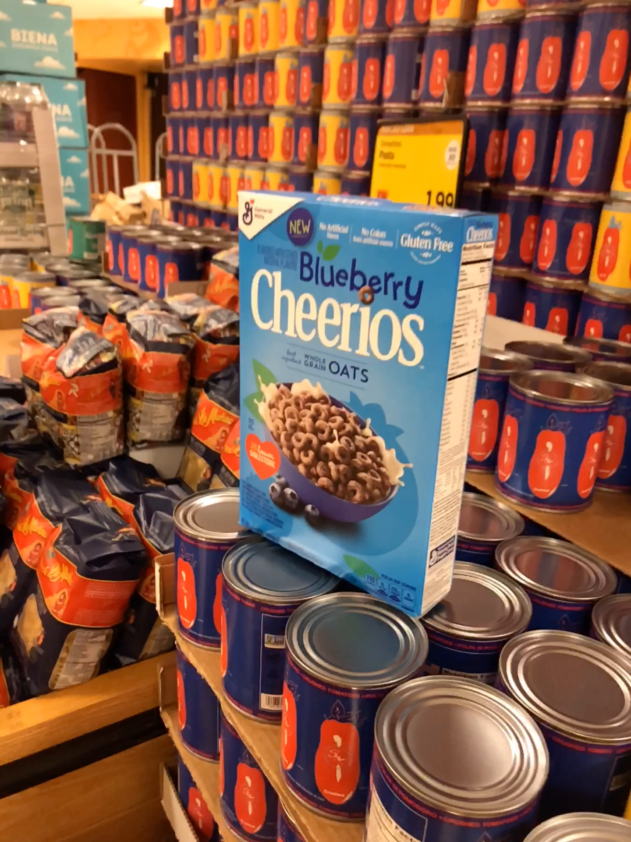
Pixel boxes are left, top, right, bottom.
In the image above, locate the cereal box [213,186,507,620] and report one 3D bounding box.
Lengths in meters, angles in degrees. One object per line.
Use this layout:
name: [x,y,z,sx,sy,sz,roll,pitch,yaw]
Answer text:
cereal box: [0.016,-0.025,0.529,0.210,0.278,0.060,19,26,37]
